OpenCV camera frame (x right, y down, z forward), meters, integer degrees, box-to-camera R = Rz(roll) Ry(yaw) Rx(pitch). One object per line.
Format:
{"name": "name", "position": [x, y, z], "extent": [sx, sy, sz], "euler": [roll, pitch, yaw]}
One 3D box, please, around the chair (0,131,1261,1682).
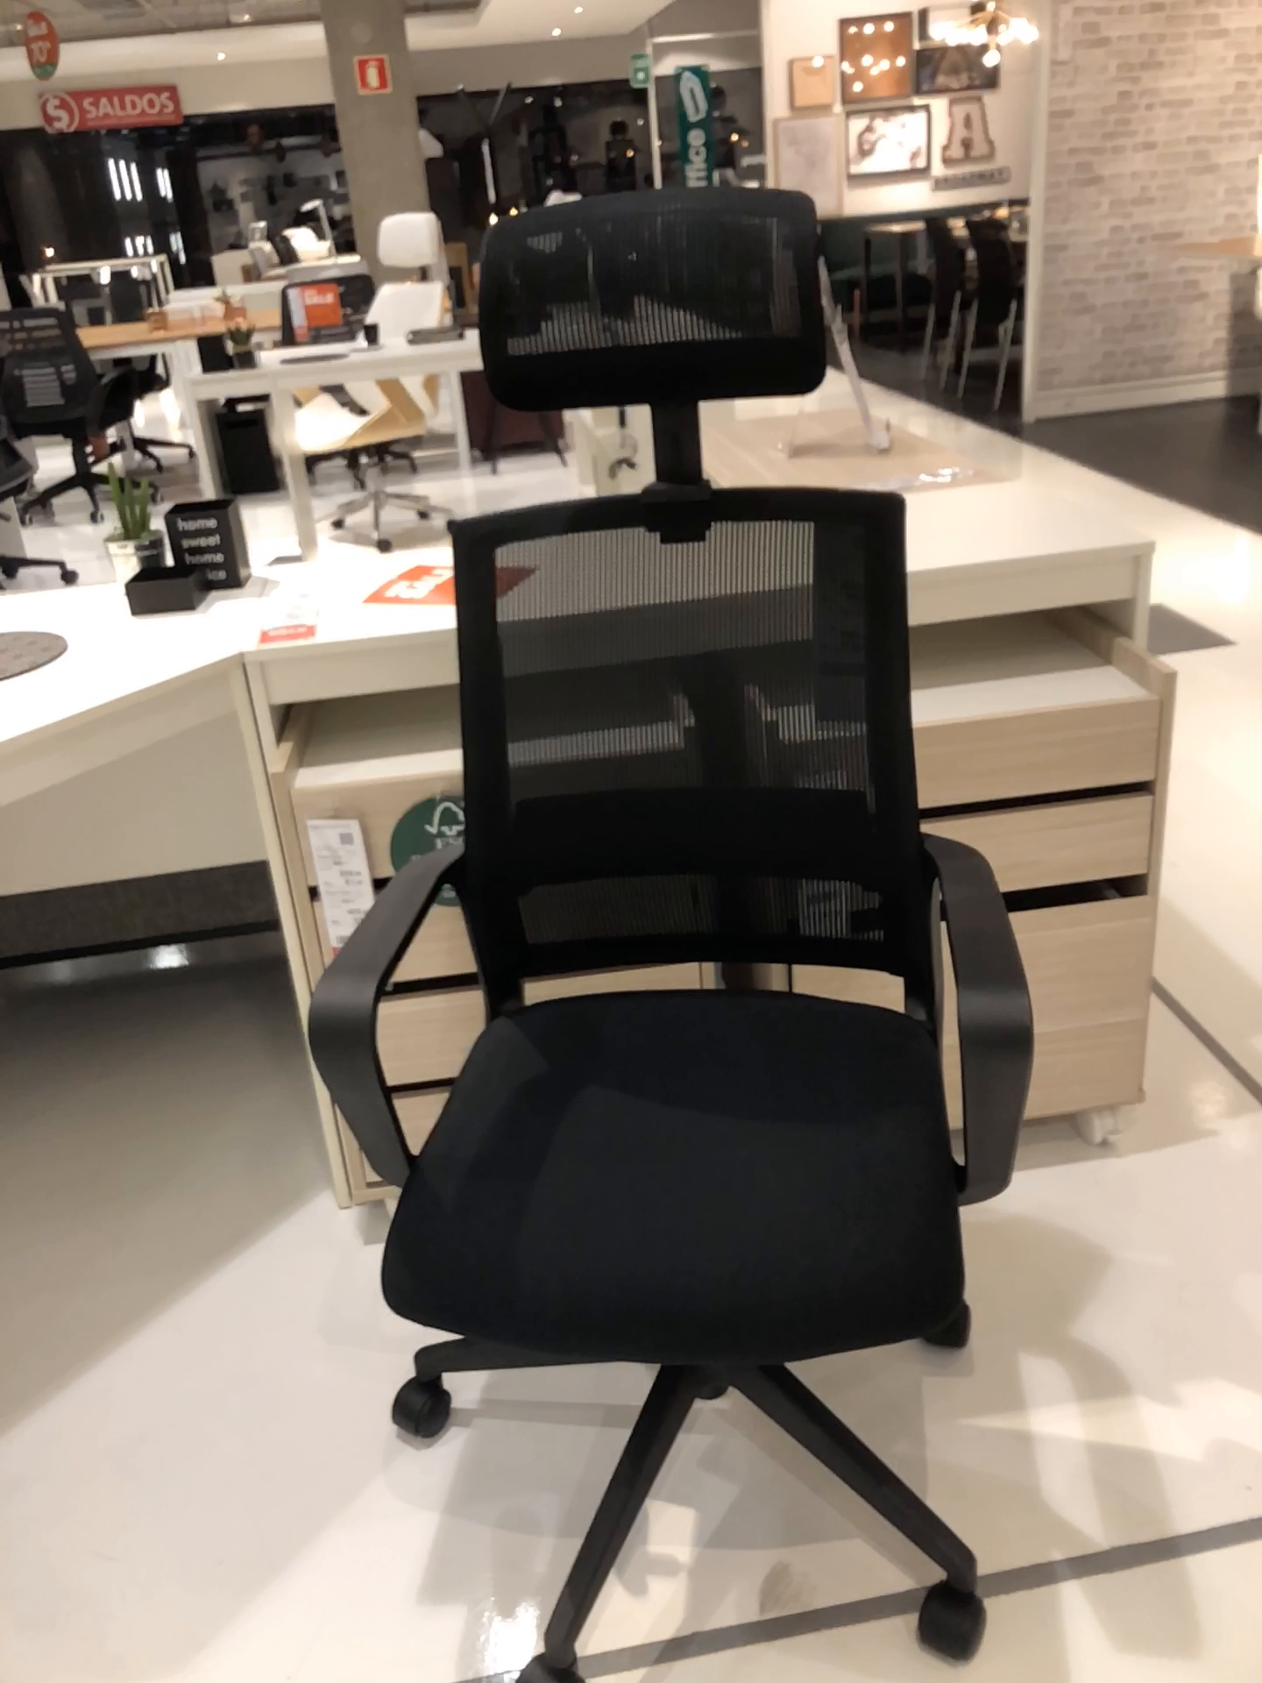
{"name": "chair", "position": [0.019, 0.082, 1.159], "extent": [0.660, 1.132, 0.665], "euler": [-2, 25, 7]}
